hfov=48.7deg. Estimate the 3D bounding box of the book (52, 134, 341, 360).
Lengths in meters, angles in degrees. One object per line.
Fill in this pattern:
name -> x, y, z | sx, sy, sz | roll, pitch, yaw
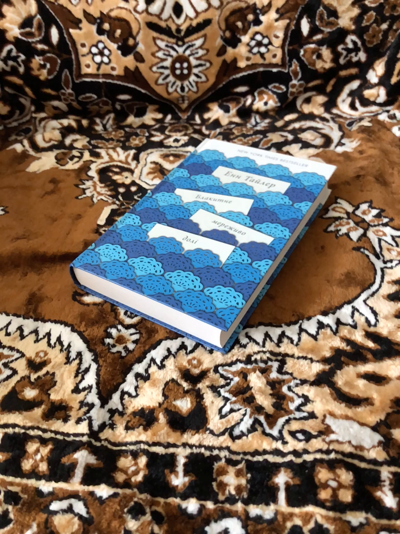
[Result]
book -> 0.010, -0.042, 0.397 | 0.155, 0.030, 0.234 | 20, 48, 25
